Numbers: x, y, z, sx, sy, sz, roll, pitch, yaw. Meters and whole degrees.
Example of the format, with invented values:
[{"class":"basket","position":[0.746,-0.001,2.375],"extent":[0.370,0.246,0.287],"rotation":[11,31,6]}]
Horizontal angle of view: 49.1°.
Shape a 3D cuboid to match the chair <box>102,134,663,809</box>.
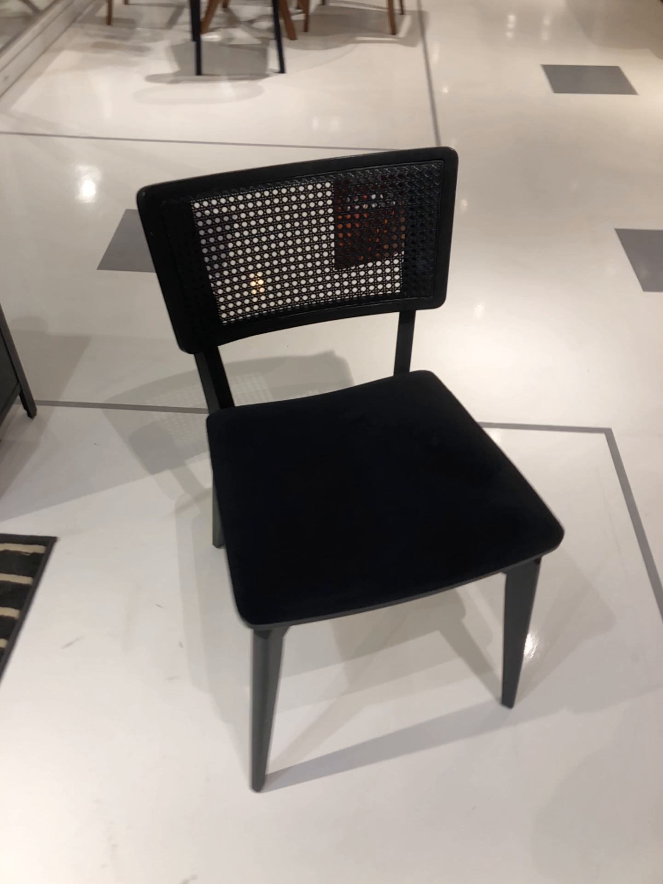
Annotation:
[{"class":"chair","position":[0.034,0.050,1.094],"extent":[0.531,0.745,0.553],"rotation":[-13,46,-14]}]
